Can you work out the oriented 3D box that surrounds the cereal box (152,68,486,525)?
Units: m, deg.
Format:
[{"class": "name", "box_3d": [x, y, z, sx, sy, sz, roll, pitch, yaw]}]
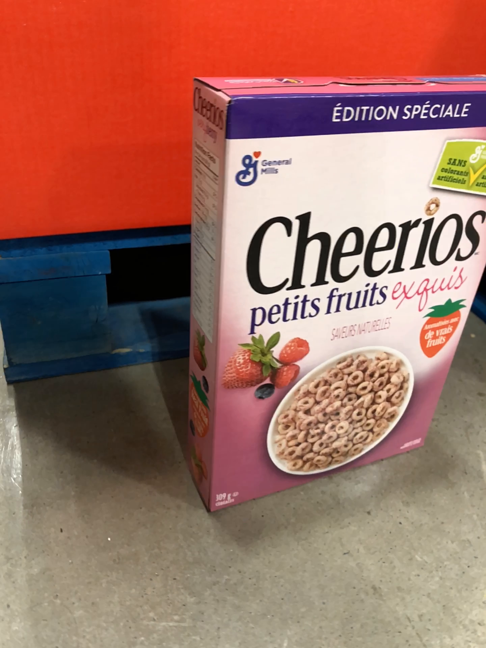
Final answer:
[{"class": "cereal box", "box_3d": [0.059, -0.011, 0.357, 0.220, 0.279, 0.060, -10, 37, -21]}]
